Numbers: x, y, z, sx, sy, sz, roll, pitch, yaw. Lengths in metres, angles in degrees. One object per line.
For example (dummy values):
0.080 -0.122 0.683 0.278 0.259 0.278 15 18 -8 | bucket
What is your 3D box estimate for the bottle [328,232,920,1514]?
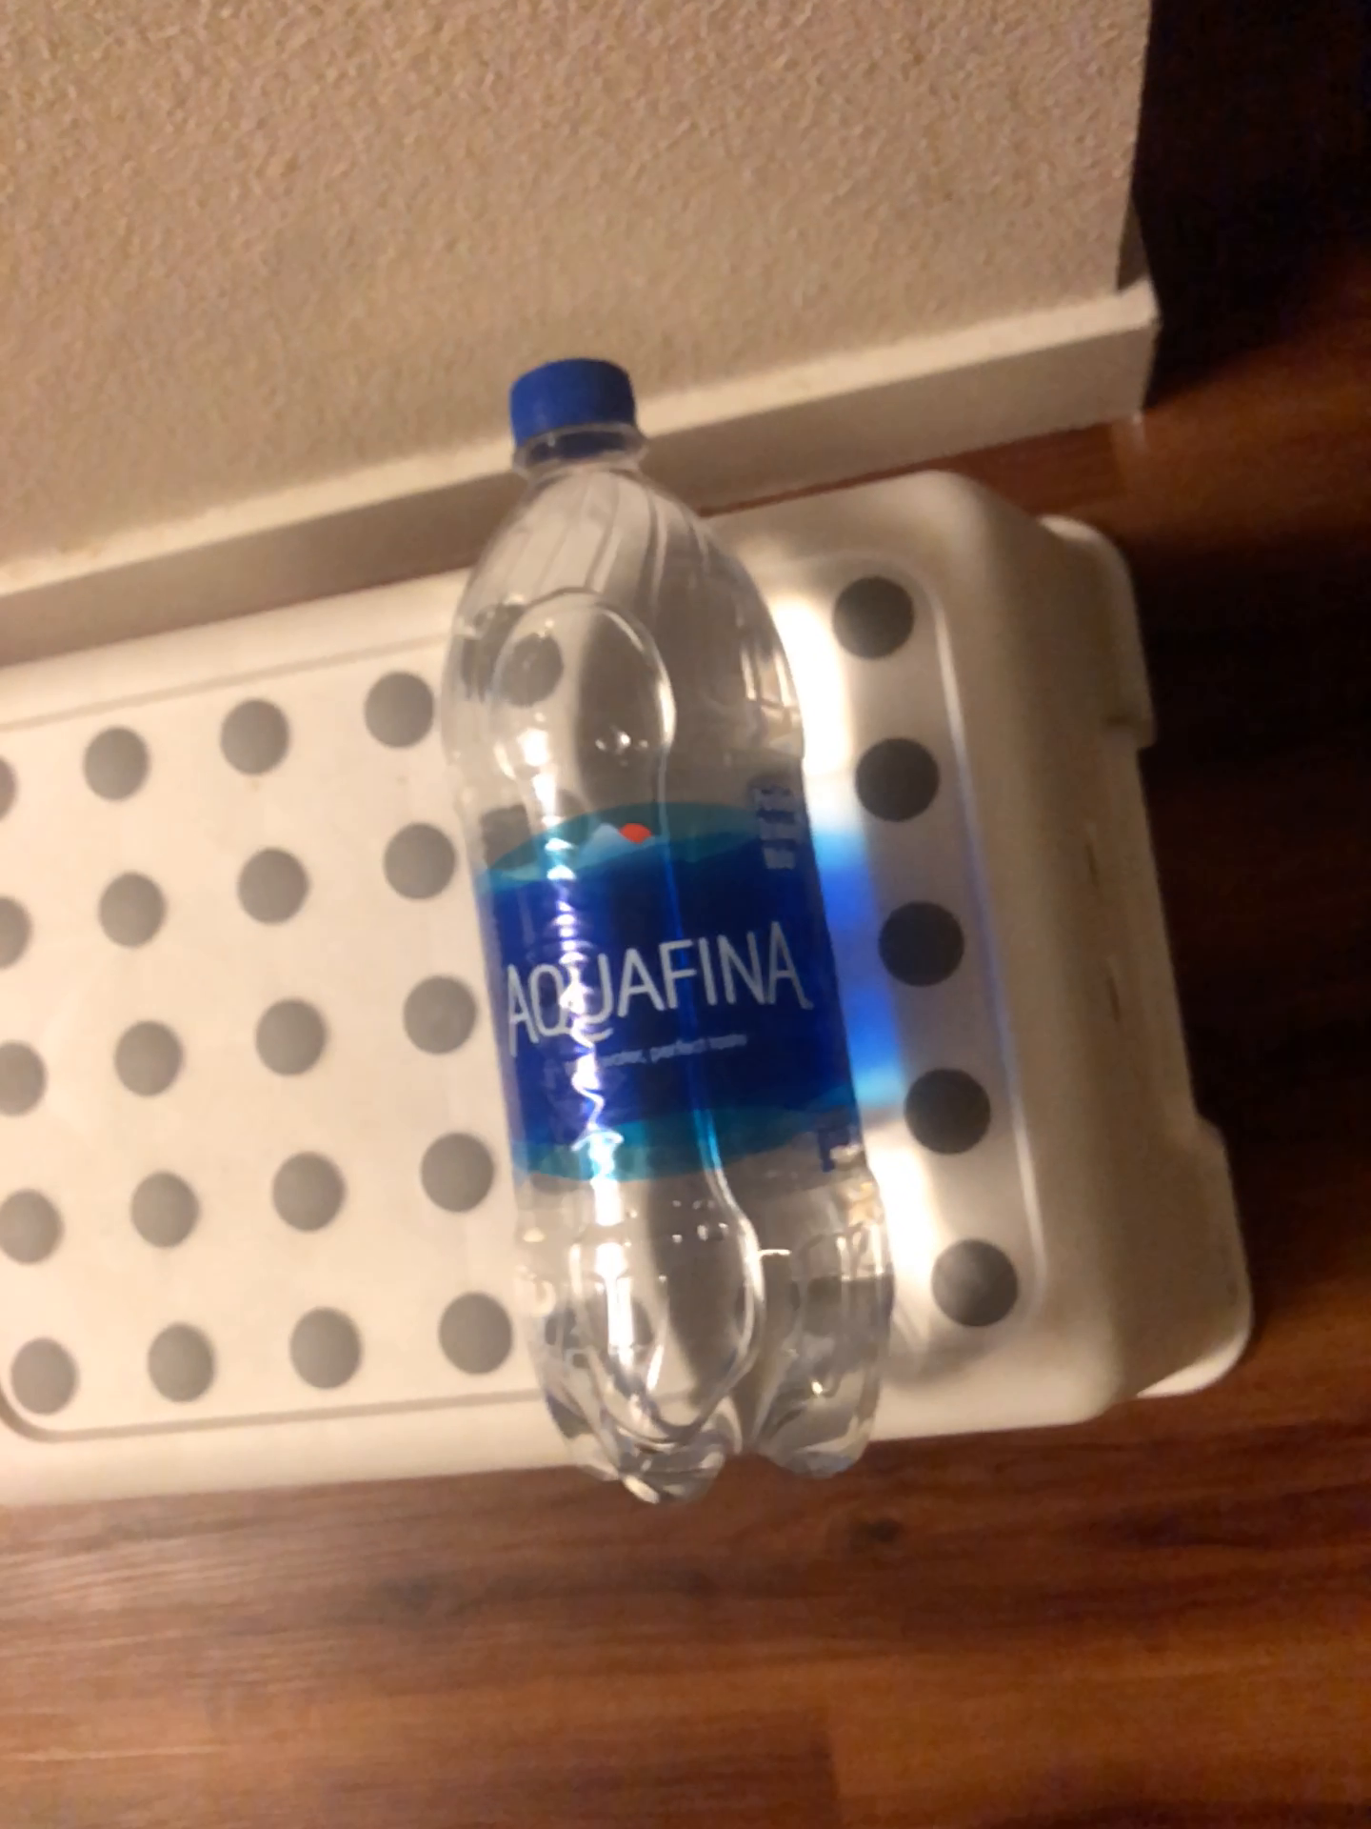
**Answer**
-0.011 -0.007 0.348 0.090 0.080 0.250 -8 84 12 | bottle
